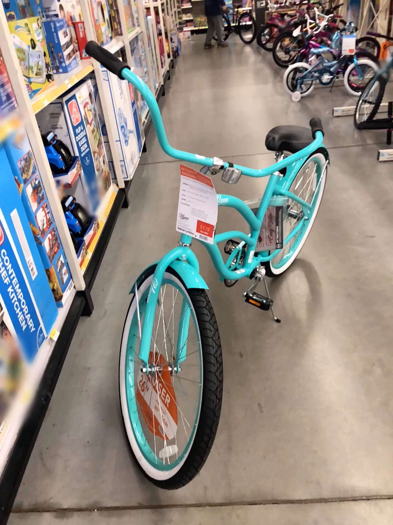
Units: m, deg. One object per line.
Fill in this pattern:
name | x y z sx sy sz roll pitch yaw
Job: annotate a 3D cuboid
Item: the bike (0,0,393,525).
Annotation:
bike | 0.266 -0.100 1.474 0.759 1.143 1.499 10 40 24
